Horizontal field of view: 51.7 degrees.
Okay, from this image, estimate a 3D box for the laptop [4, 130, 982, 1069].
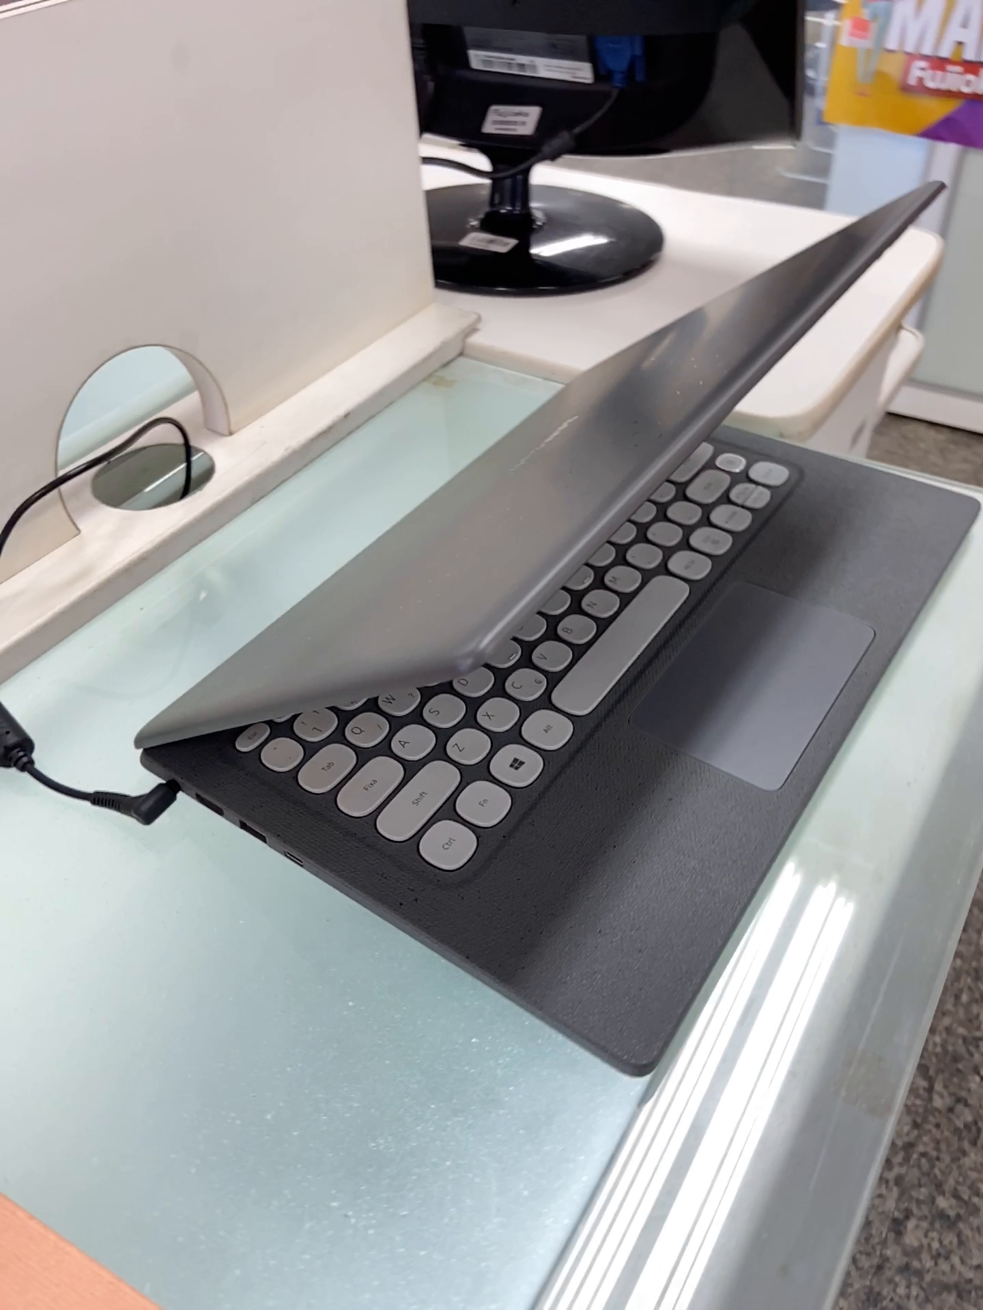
[{"bbox_3d":[0.043,-0.065,0.376,0.212,0.132,0.318,24,49,26],"label":"laptop"}]
